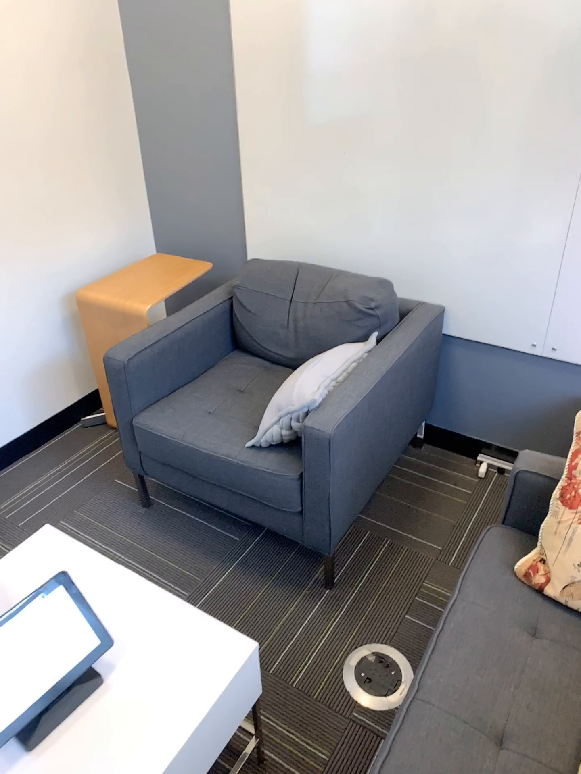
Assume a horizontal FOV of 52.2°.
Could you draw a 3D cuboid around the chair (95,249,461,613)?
[{"bbox_3d":[0.014,0.056,2.147,0.843,0.715,0.943,17,37,26],"label":"chair"}]
